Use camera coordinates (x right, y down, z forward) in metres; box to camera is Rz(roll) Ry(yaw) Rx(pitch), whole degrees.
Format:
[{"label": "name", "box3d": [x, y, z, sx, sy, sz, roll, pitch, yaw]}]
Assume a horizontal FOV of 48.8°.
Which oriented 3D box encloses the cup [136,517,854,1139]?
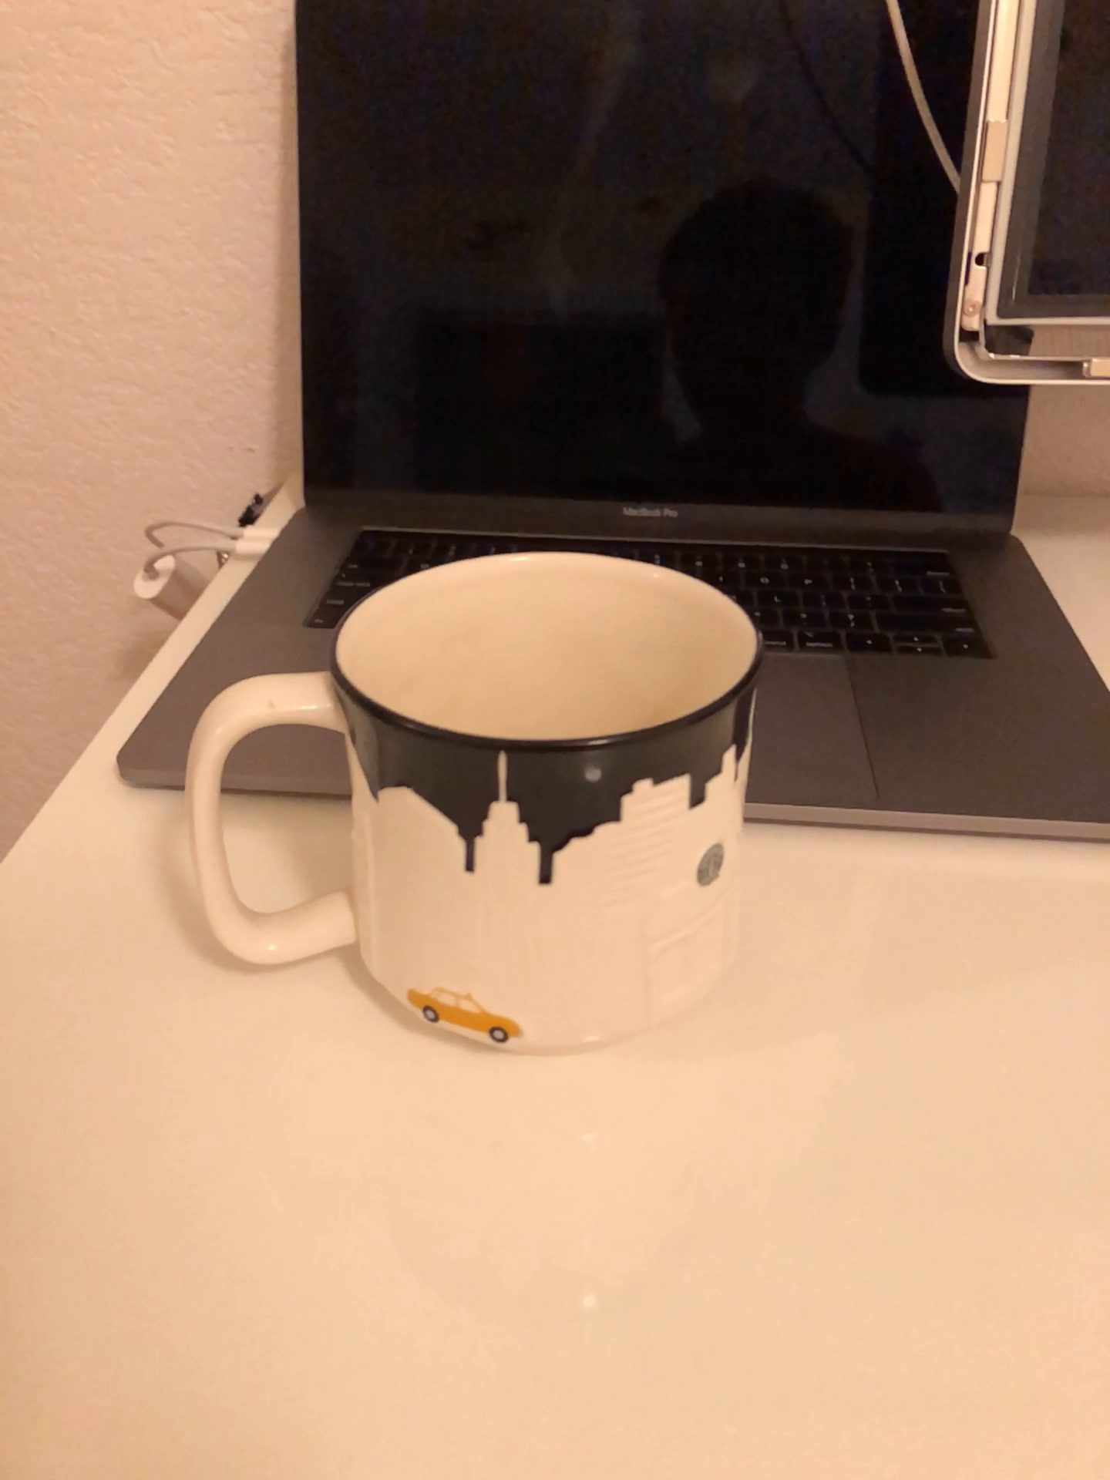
[{"label": "cup", "box3d": [-0.018, 0.017, 0.324, 0.150, 0.109, 0.101, -6, 32, -9]}]
